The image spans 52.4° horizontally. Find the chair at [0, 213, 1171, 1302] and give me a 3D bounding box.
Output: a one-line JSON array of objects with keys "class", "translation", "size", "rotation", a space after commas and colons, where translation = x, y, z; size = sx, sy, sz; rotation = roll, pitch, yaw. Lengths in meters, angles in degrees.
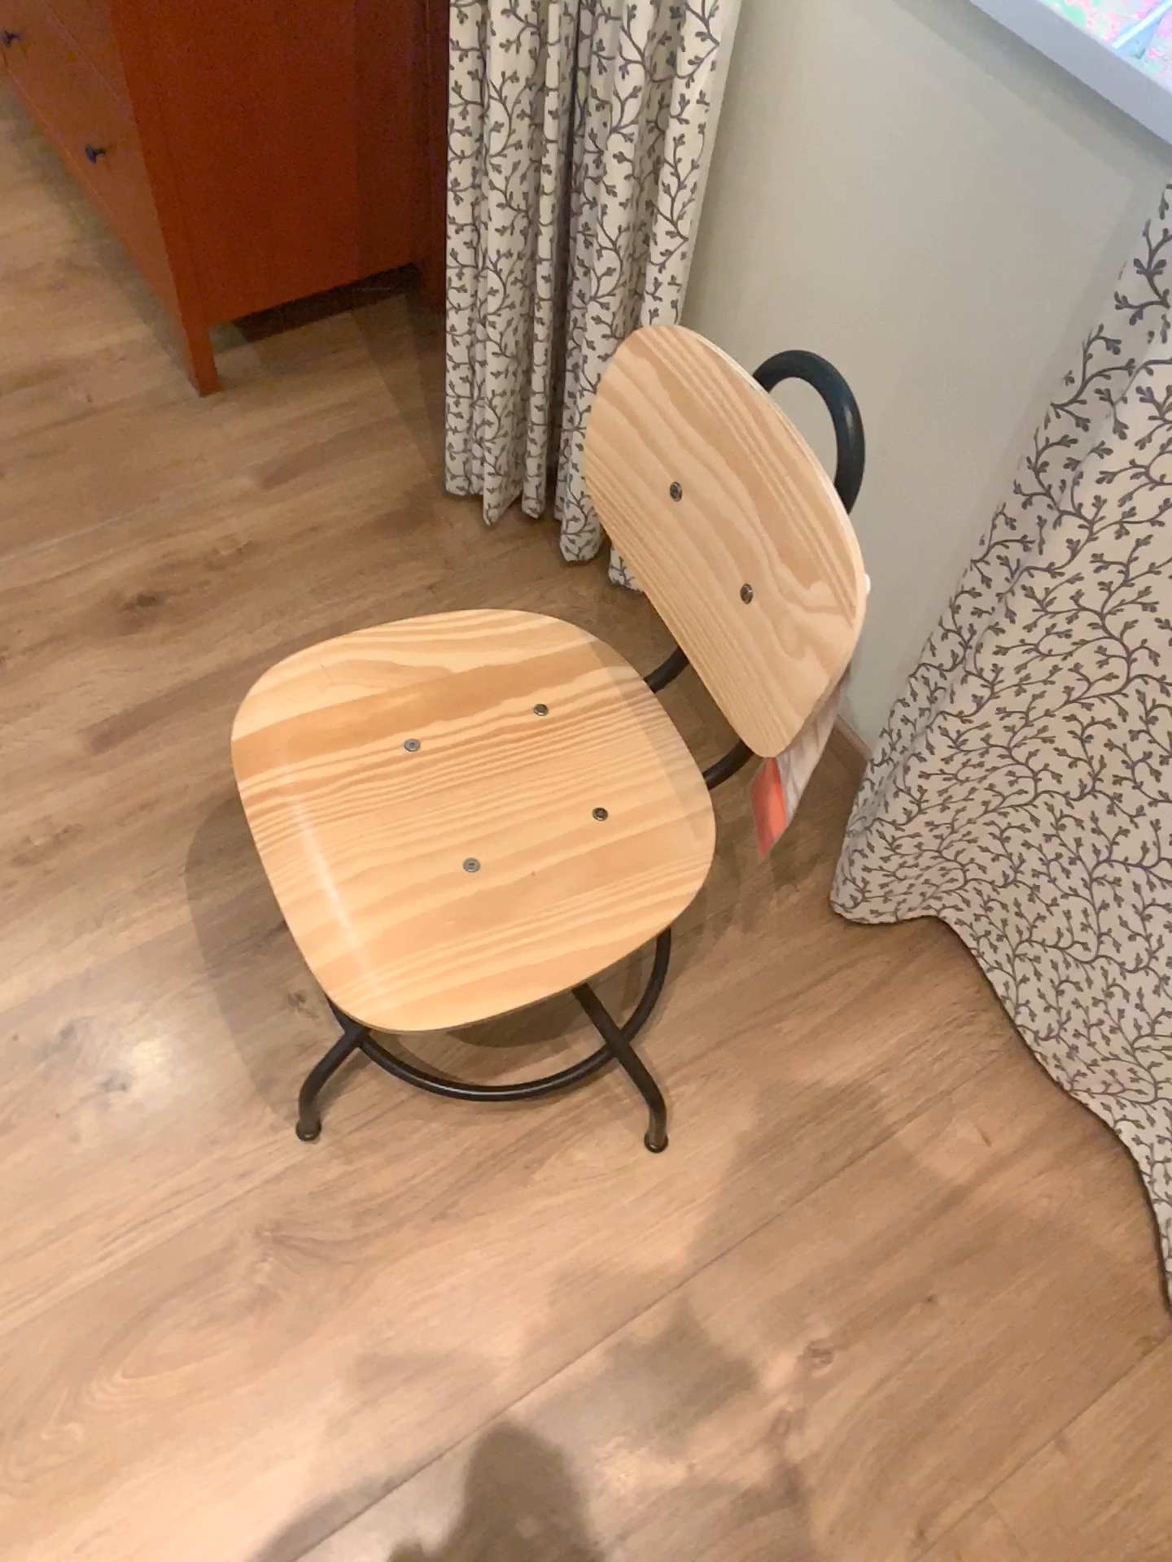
[{"class": "chair", "translation": [-0.054, 0.003, 0.995], "size": [0.630, 0.599, 0.491], "rotation": [-20, 62, -17]}]
